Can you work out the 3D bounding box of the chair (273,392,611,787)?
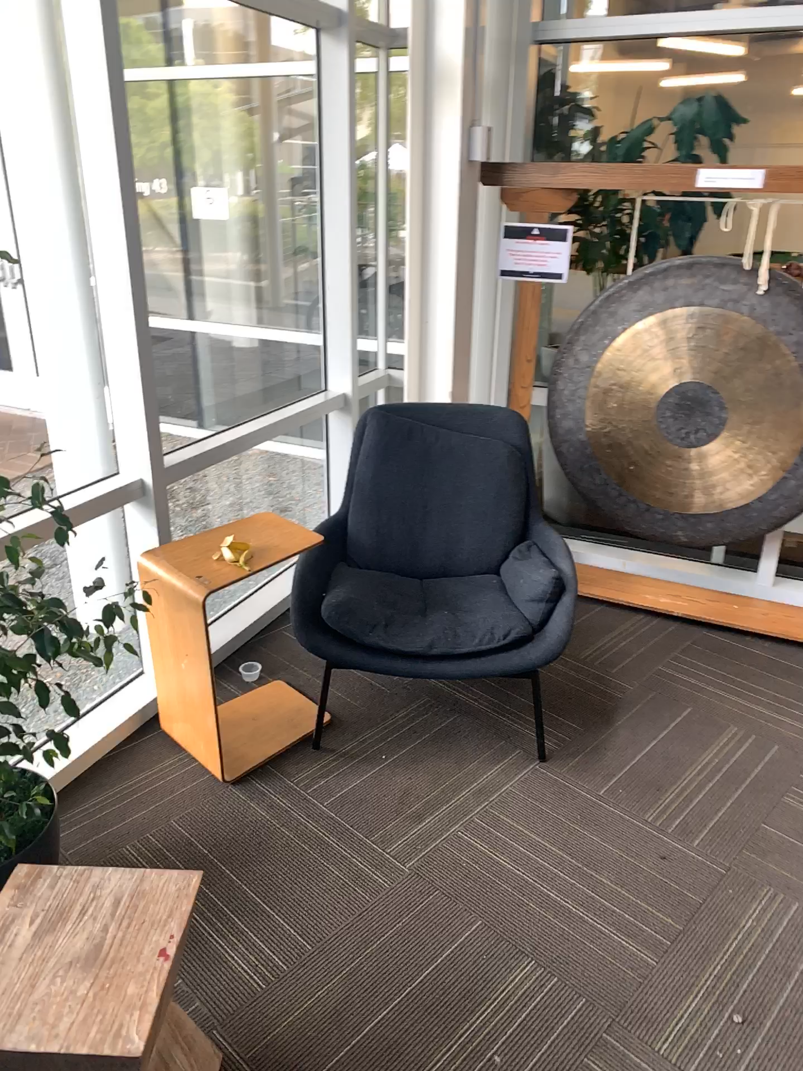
[{"bbox_3d":[0.120,0.121,2.797,0.900,0.995,0.945,2,23,2],"label":"chair"}]
